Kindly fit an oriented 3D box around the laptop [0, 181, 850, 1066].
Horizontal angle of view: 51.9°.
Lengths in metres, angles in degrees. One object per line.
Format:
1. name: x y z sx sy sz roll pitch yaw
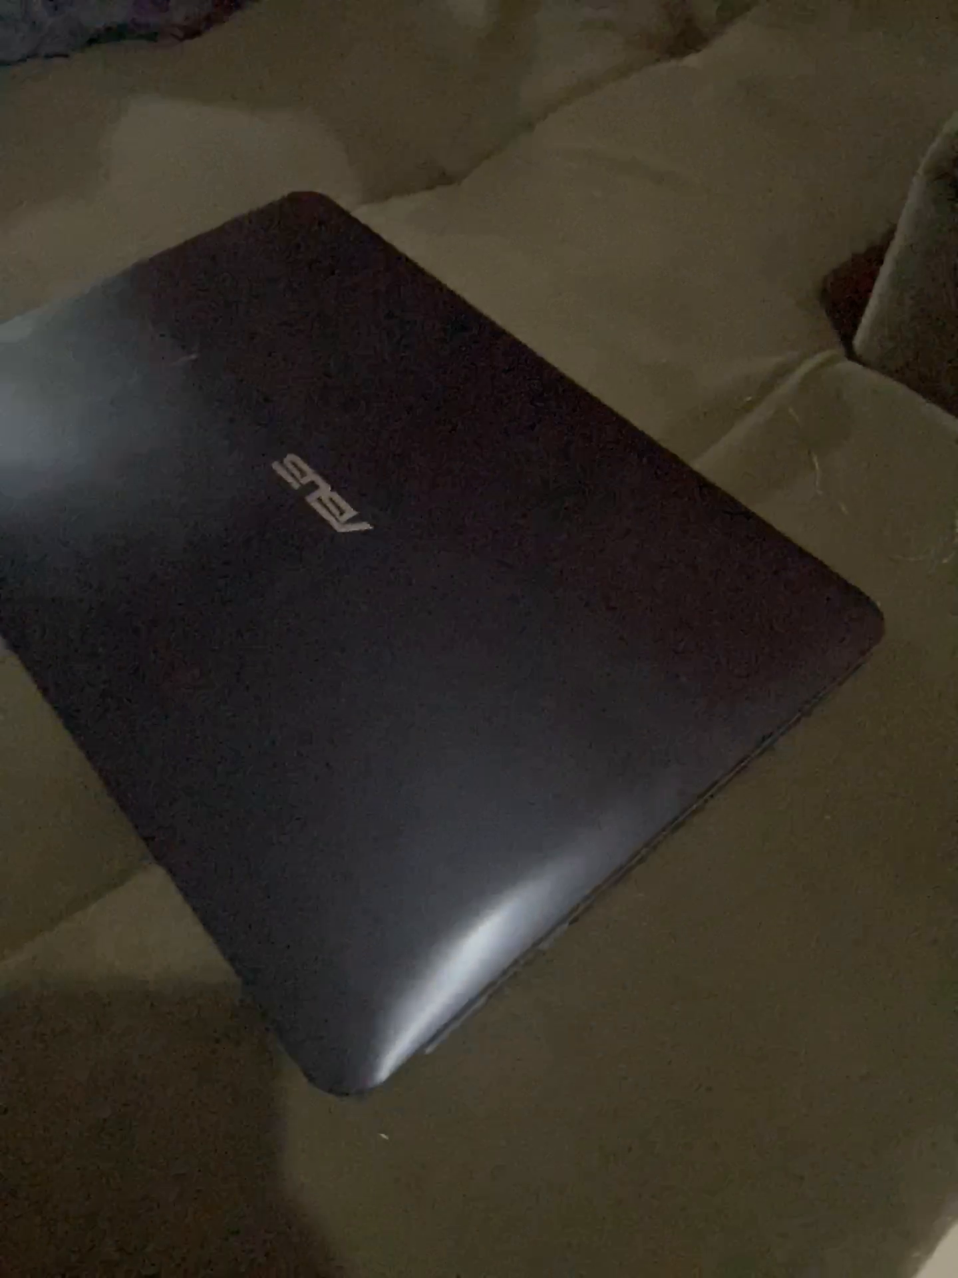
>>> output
1. laptop: -0.071 -0.060 0.403 0.235 0.004 0.370 -35 62 -19
